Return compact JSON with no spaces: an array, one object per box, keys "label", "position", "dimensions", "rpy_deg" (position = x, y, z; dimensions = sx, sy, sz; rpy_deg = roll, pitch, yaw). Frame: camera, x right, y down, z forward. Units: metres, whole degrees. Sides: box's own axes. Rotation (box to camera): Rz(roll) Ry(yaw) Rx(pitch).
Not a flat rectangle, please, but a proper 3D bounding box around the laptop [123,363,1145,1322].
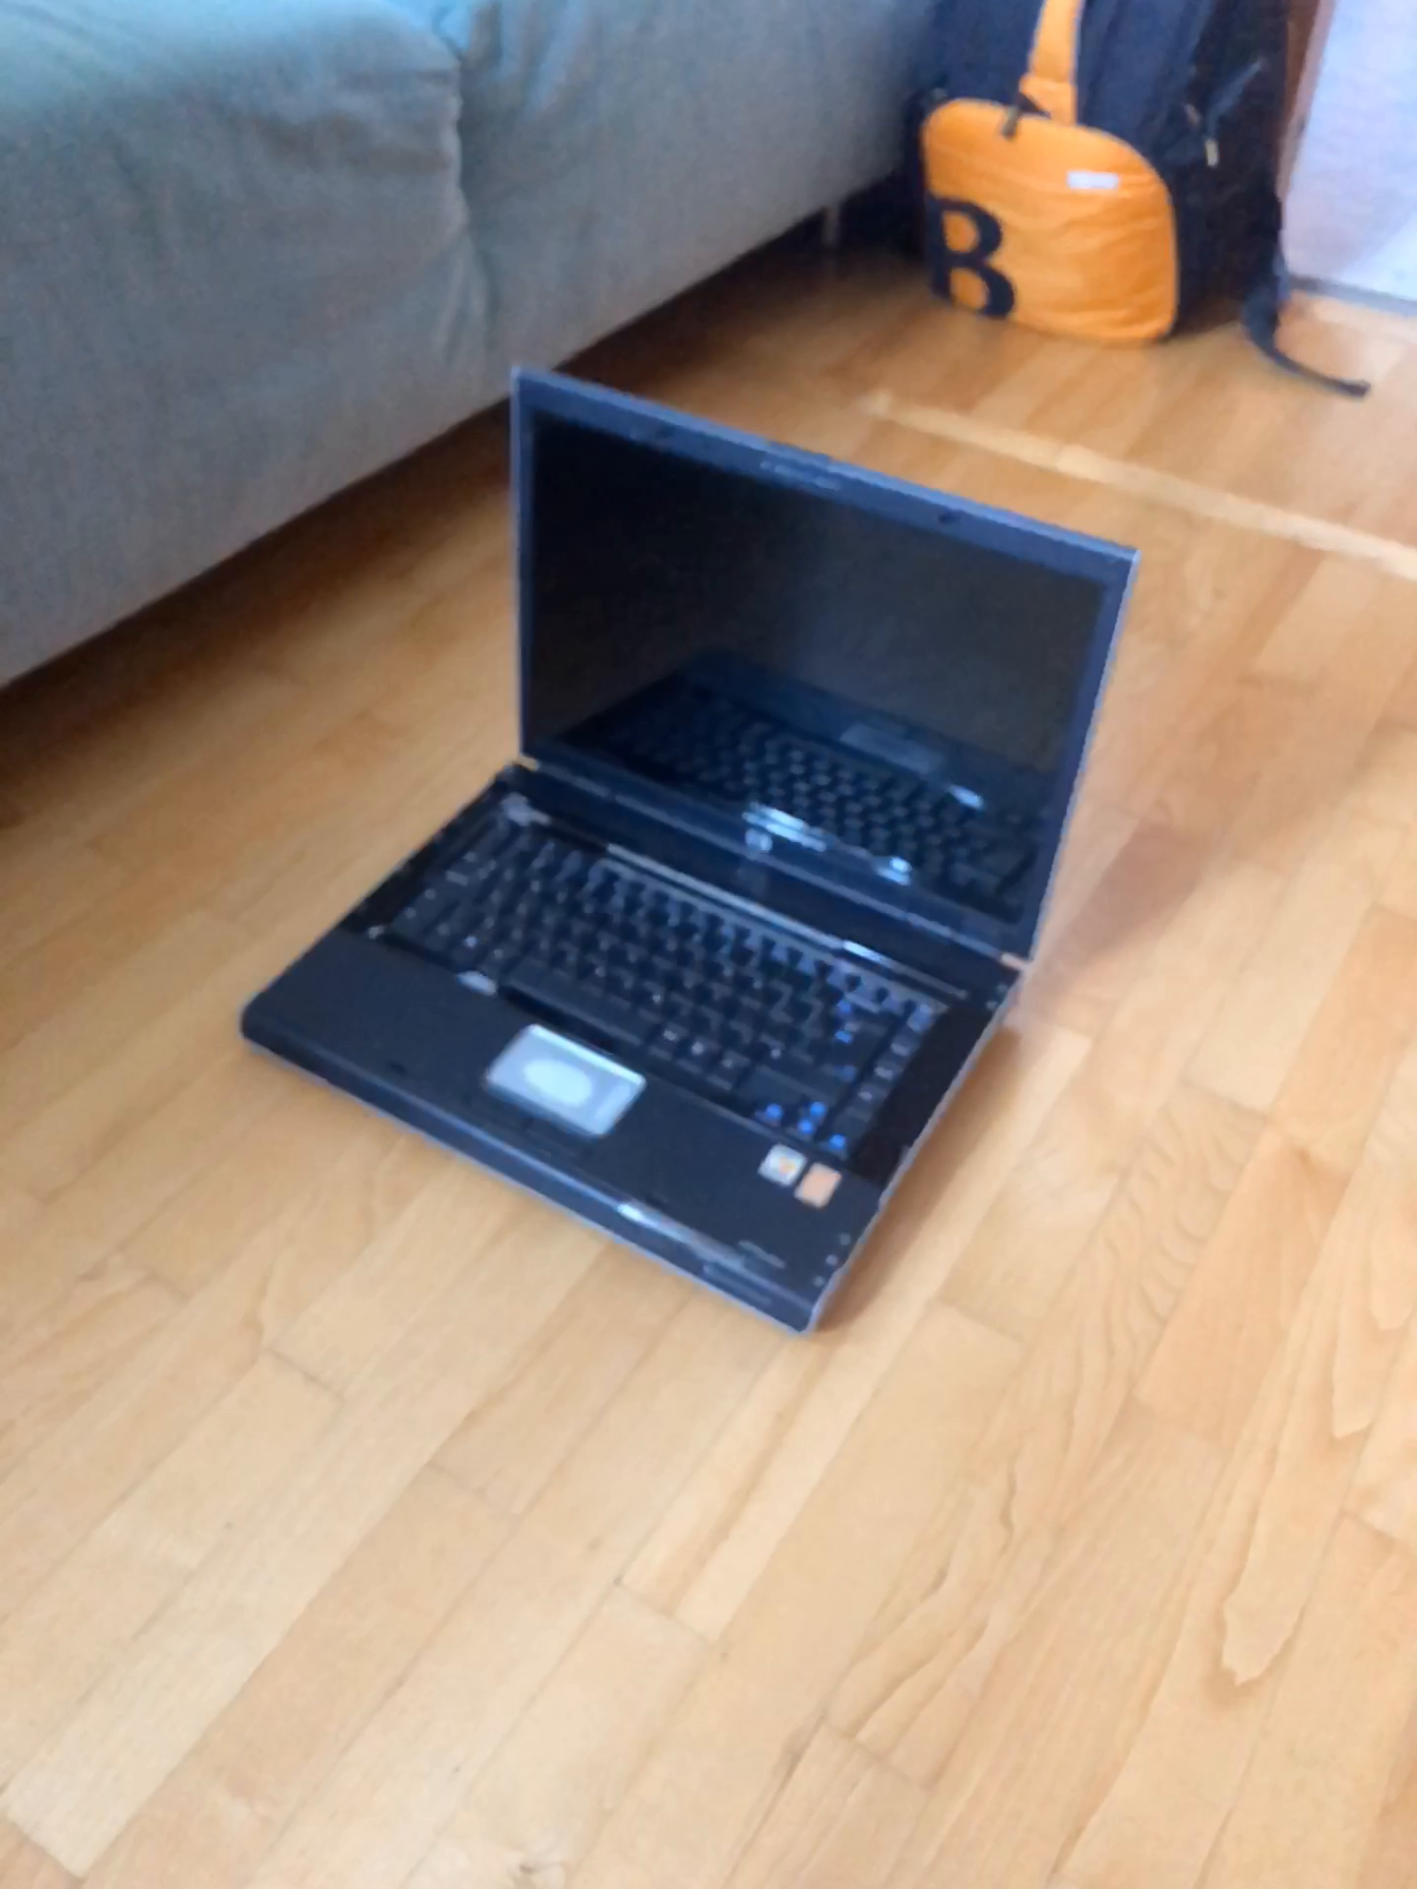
[{"label":"laptop","position":[-0.028,-0.074,0.818],"dimensions":[0.363,0.254,0.307],"rpy_deg":[24,49,21]}]
